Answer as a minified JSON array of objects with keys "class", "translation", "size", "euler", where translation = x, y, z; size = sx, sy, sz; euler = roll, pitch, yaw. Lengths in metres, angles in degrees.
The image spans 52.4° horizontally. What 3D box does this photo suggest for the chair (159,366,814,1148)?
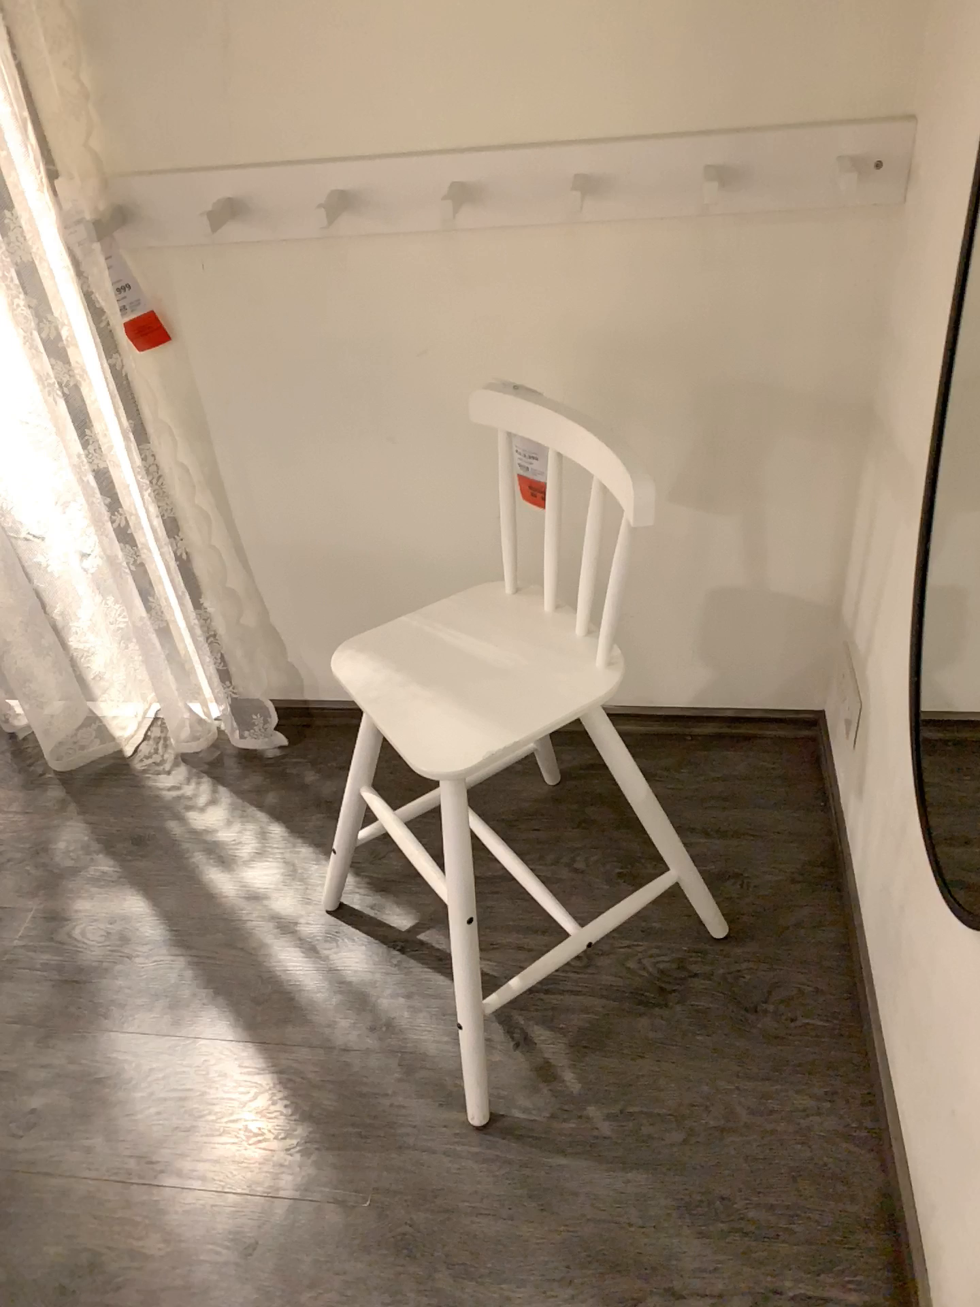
[{"class":"chair","translation":[0.009,0.107,1.190],"size":[0.480,0.657,0.452],"euler":[-27,43,-24]}]
